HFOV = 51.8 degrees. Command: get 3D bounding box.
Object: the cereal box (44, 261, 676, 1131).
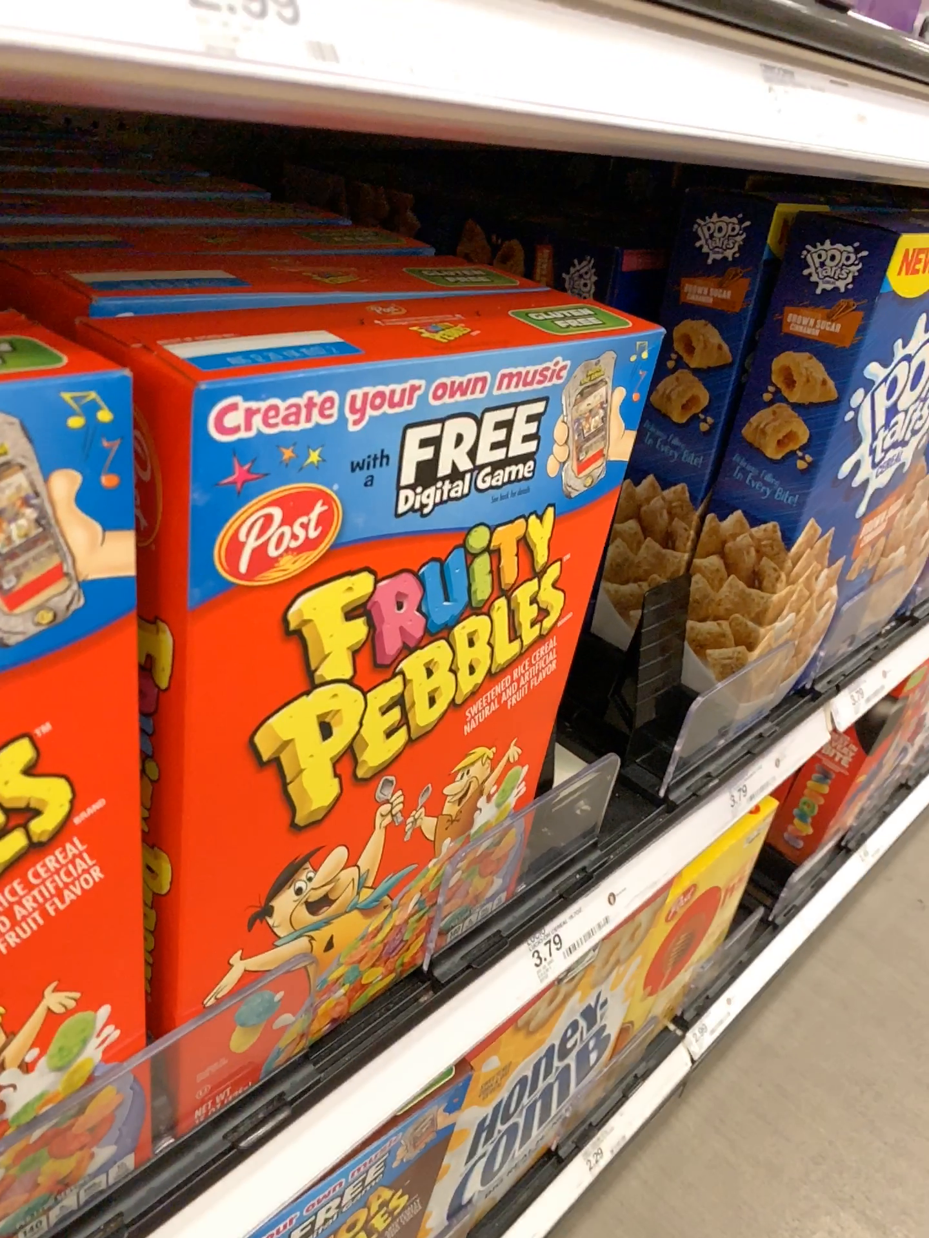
[{"bbox_3d":[-0.038,0.024,0.362,0.060,0.288,0.201,33,37,33],"label":"cereal box"}]
